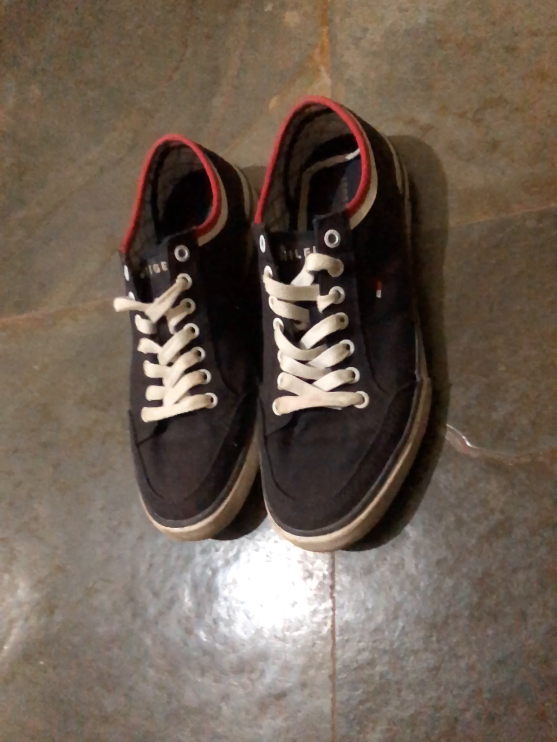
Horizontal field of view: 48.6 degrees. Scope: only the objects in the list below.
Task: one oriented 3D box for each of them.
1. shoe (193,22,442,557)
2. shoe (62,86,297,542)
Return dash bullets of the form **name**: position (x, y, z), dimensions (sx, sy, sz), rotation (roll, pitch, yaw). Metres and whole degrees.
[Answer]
- **shoe**: position (0.036, -0.044, 0.387), dimensions (0.110, 0.100, 0.301), rotation (-4, 72, 26)
- **shoe**: position (-0.058, -0.032, 0.434), dimensions (0.110, 0.100, 0.291), rotation (-8, 71, 24)
